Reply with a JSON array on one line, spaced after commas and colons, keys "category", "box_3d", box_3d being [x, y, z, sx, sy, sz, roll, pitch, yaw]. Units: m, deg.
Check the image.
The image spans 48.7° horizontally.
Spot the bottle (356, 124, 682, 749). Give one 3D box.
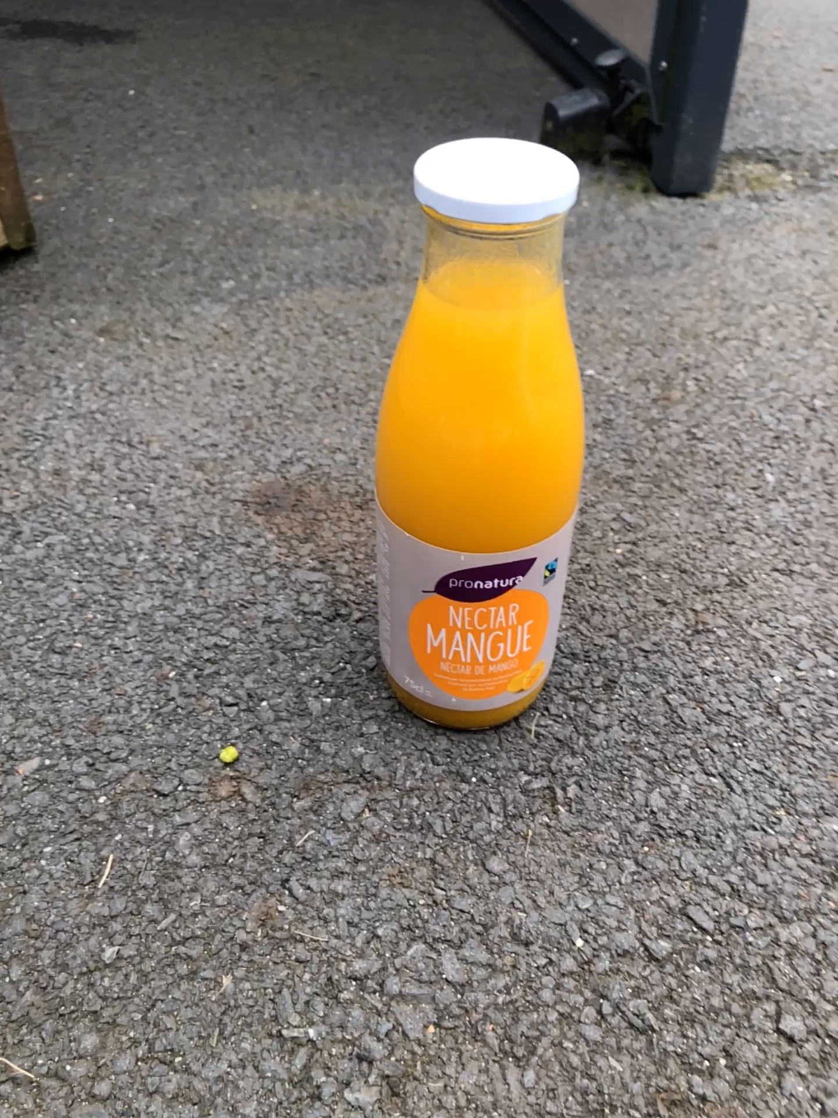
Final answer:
[{"category": "bottle", "box_3d": [0.024, -0.032, 0.332, 0.080, 0.209, 0.080, 0, 42, 0]}]
